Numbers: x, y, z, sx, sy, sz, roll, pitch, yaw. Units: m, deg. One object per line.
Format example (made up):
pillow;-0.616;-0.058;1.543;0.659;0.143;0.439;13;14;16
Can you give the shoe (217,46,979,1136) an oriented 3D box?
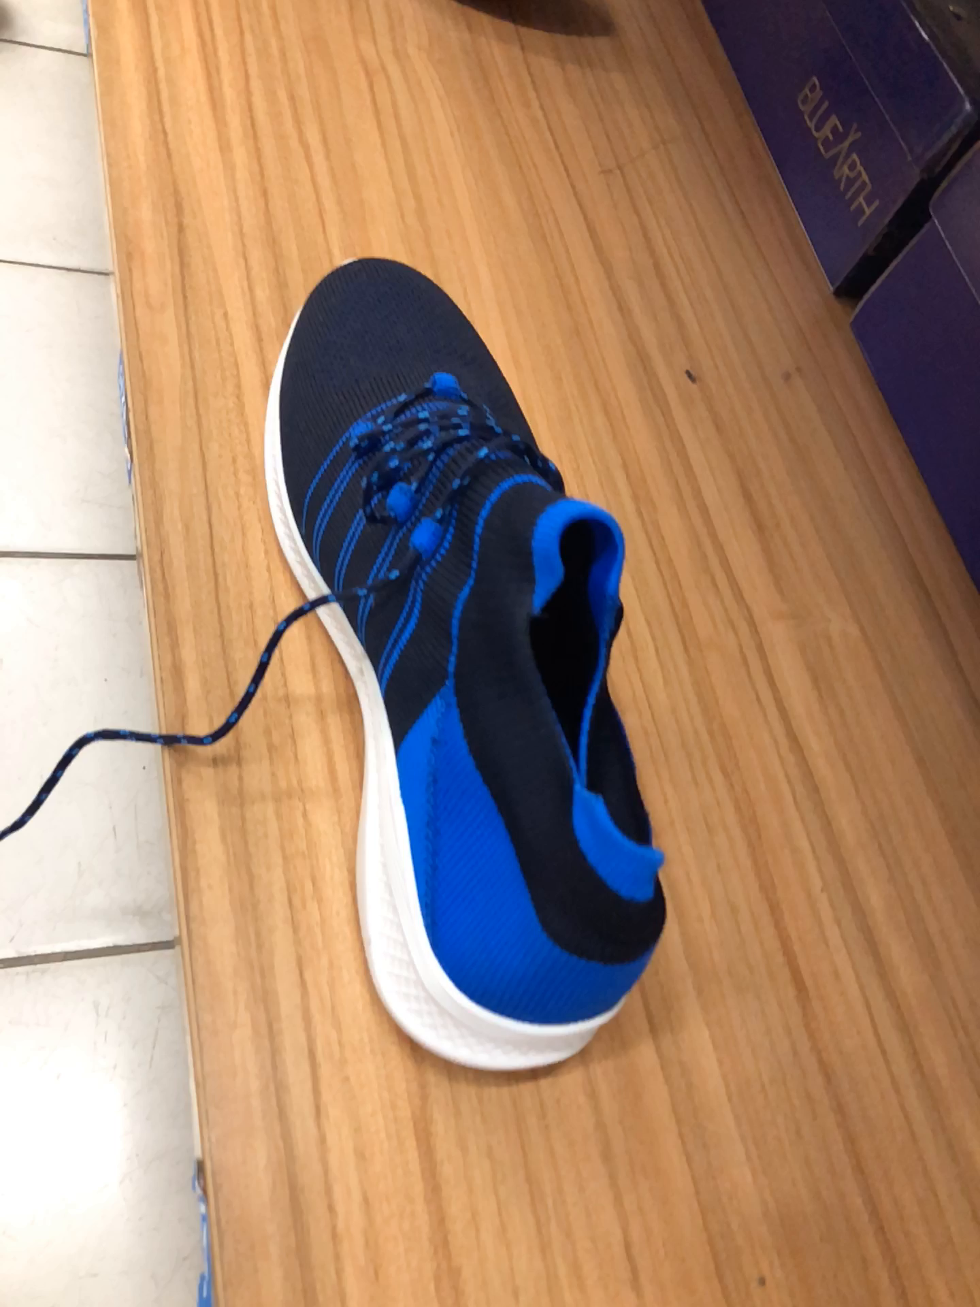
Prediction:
shoe;0.006;-0.025;0.301;0.110;0.109;0.261;-4;63;-25
